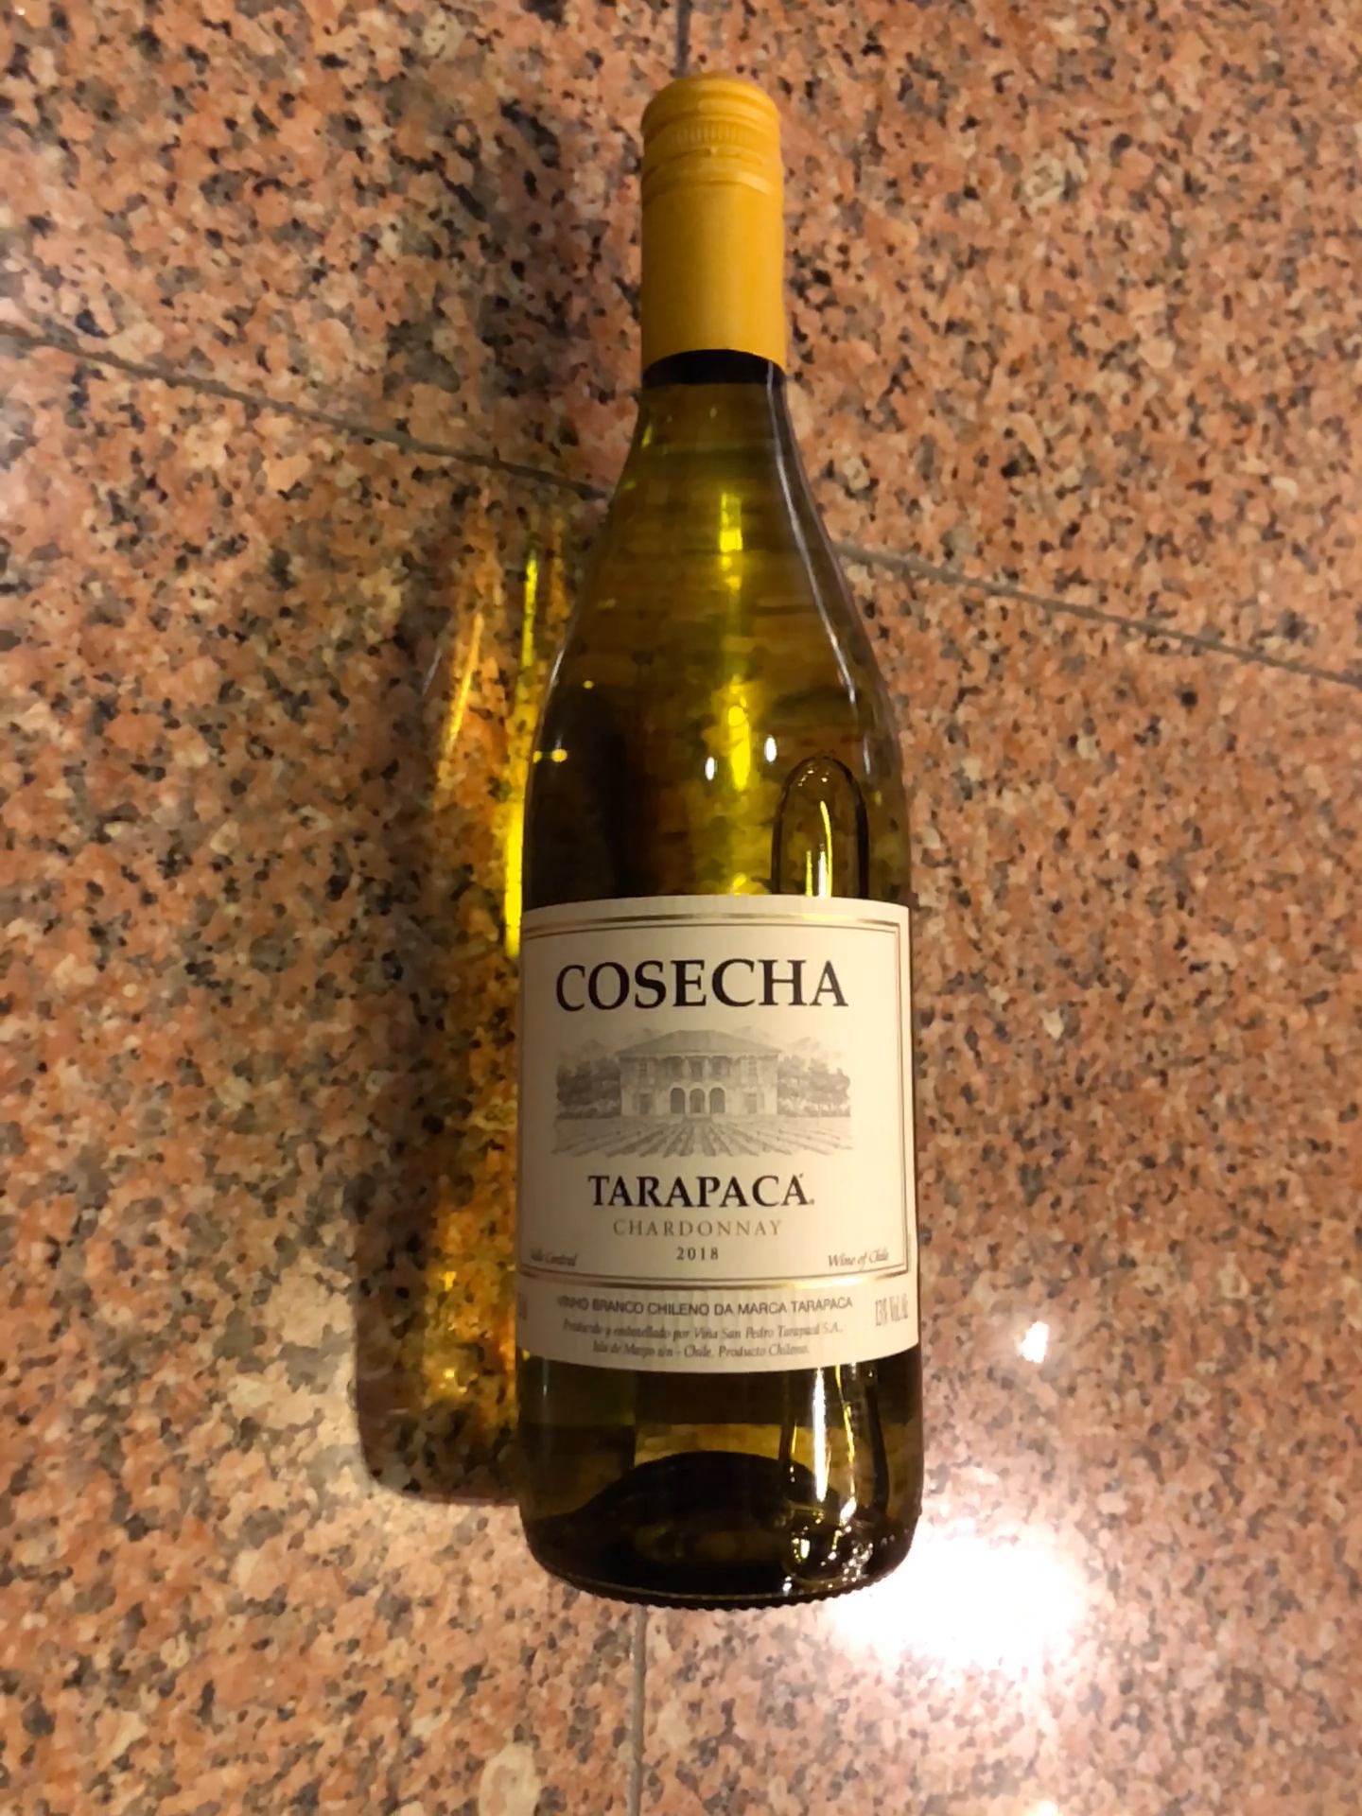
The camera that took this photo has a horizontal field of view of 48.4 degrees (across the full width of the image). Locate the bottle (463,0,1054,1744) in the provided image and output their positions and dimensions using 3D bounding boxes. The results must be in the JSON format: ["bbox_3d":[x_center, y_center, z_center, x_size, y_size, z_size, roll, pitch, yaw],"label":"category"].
[{"bbox_3d":[0.012,-0.032,0.310,0.090,0.070,0.340,3,82,-32],"label":"bottle"}]
